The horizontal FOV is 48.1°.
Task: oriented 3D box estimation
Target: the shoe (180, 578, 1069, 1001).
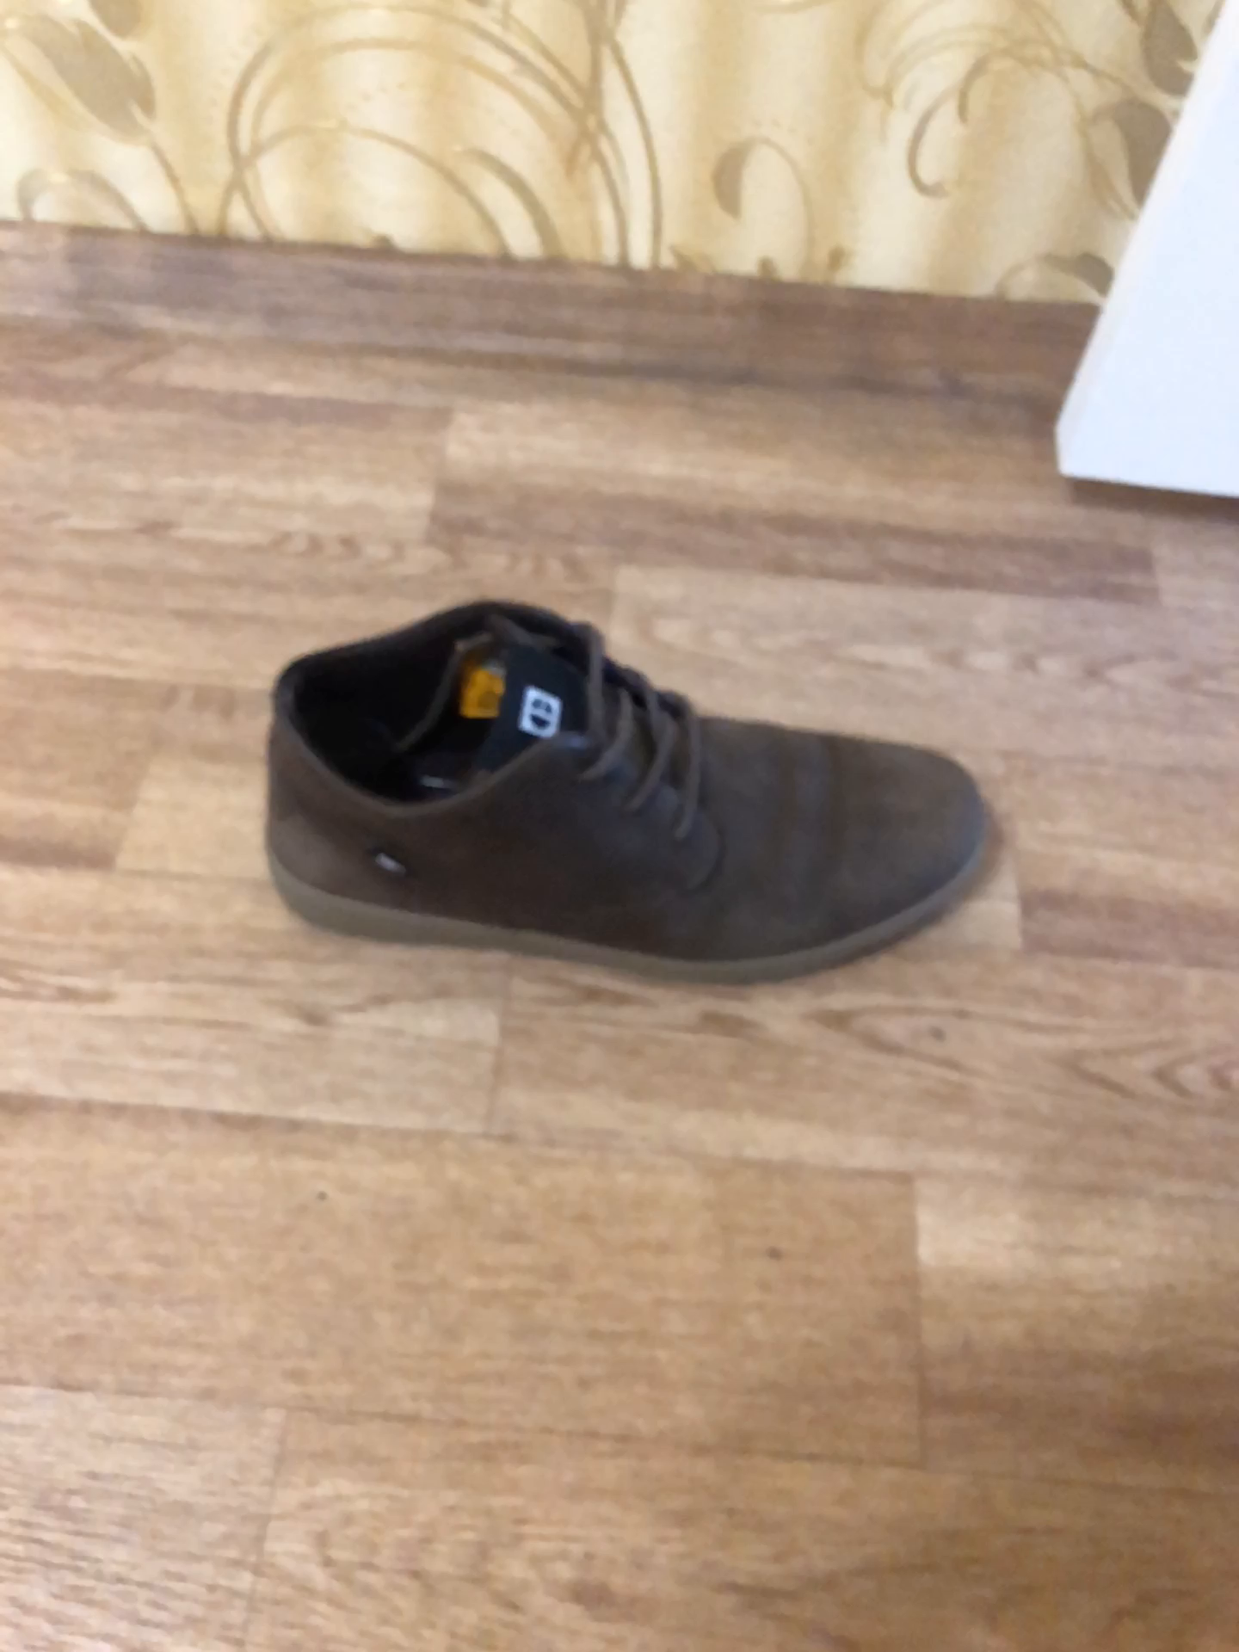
[{"bbox_3d":[0.001,-0.010,0.496,0.270,0.110,0.100,1,56,-2],"label":"shoe"}]
